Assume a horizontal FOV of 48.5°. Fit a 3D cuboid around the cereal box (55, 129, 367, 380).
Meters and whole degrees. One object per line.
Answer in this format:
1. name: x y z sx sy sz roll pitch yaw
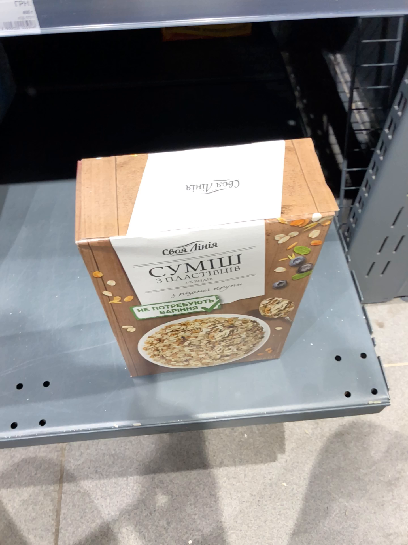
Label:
1. cereal box: 0.002 0.005 0.335 0.160 0.209 0.060 -6 58 -4
